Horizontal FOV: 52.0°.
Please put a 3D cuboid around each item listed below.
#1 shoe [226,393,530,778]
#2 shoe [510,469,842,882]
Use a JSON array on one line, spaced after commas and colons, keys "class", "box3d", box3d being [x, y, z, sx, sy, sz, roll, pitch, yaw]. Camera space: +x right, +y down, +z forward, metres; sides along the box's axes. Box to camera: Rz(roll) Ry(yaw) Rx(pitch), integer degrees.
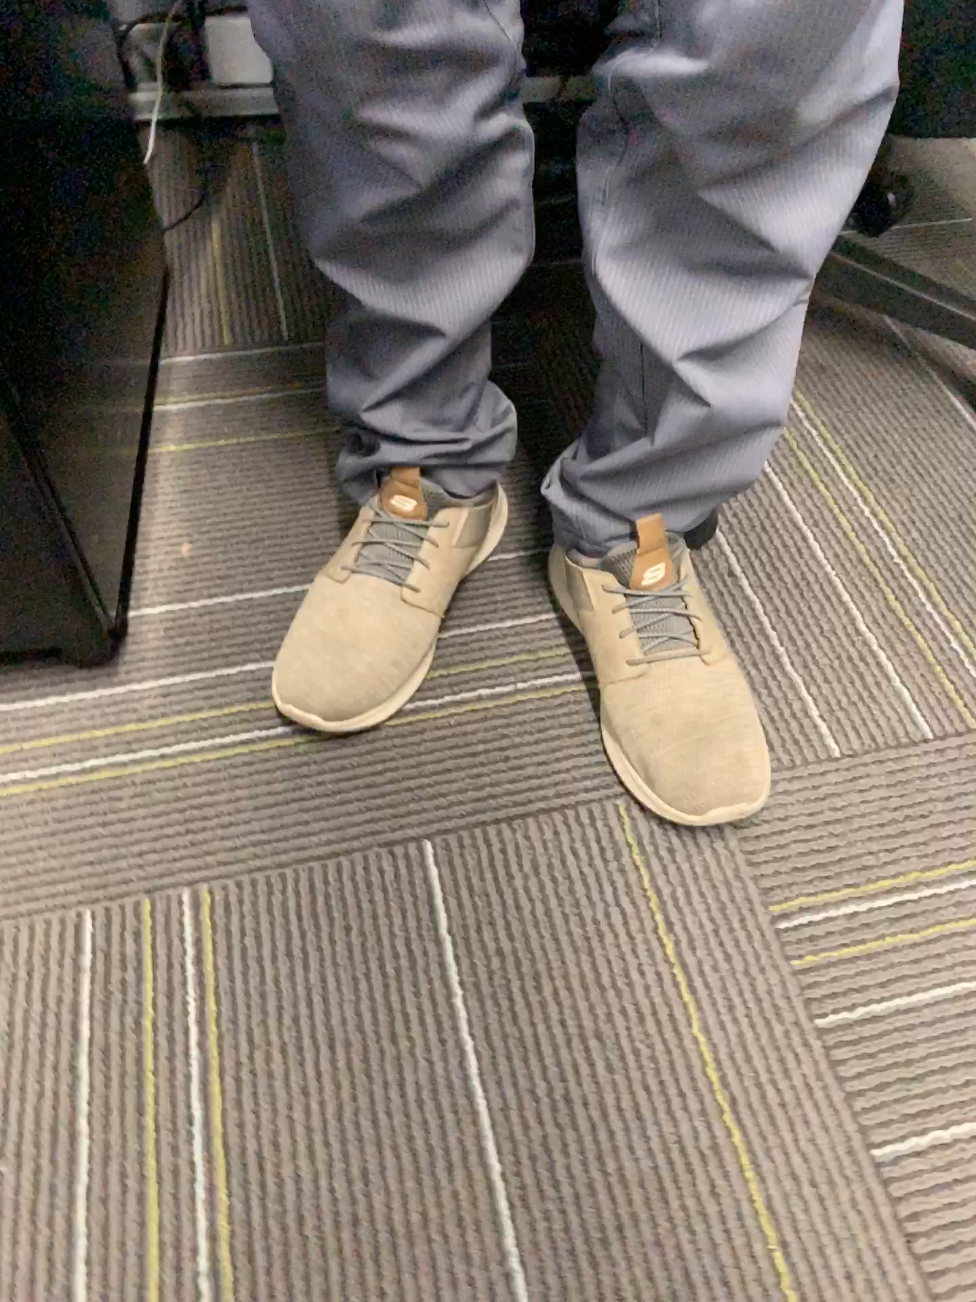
[{"class": "shoe", "box3d": [-0.071, -0.064, 0.785, 0.107, 0.098, 0.303, 17, 52, 12]}, {"class": "shoe", "box3d": [0.125, 0.005, 0.769, 0.126, 0.098, 0.303, -13, 52, -12]}]
